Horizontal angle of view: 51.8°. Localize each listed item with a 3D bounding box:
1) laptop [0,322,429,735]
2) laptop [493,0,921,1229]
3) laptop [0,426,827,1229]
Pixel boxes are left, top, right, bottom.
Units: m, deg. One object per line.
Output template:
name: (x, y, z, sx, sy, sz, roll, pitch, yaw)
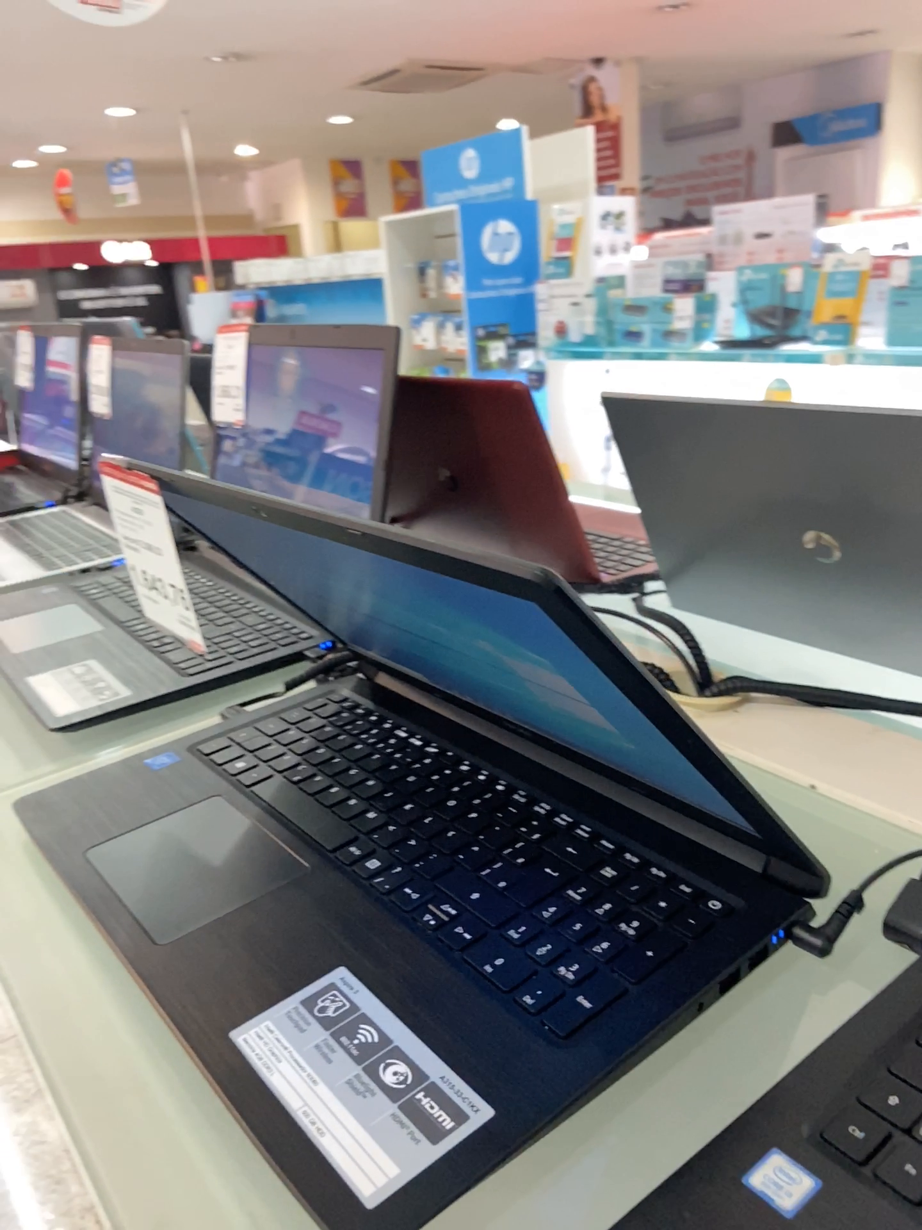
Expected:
laptop: (-0.284, -0.123, 0.860, 0.326, 0.232, 0.401, -19, 24, -31)
laptop: (0.242, 0.080, 0.152, 0.284, 0.247, 0.399, -19, 24, -33)
laptop: (-0.064, 0.031, 0.462, 0.239, 0.185, 0.379, -19, 23, -35)
